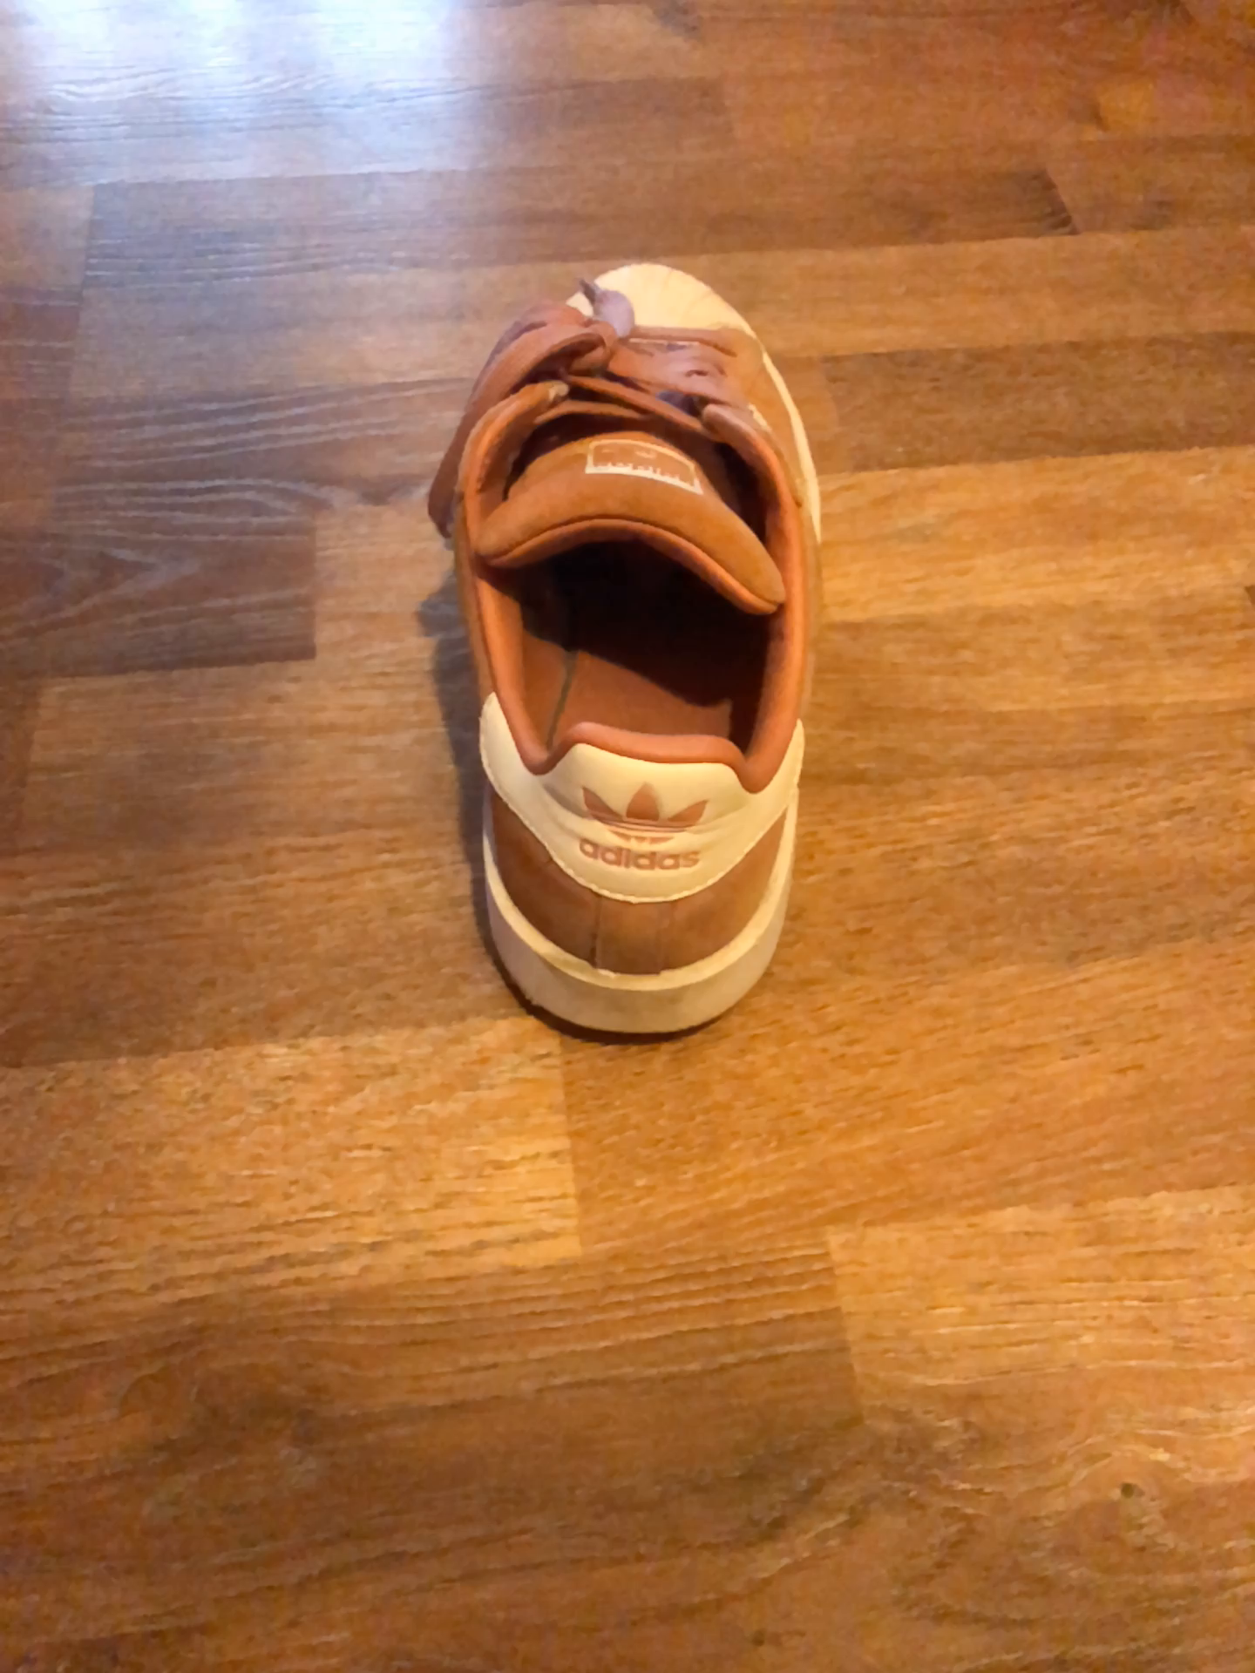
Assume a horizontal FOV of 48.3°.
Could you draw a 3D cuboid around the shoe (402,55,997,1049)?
[{"bbox_3d":[0.010,-0.086,0.376,0.110,0.109,0.261,0,56,-2],"label":"shoe"}]
